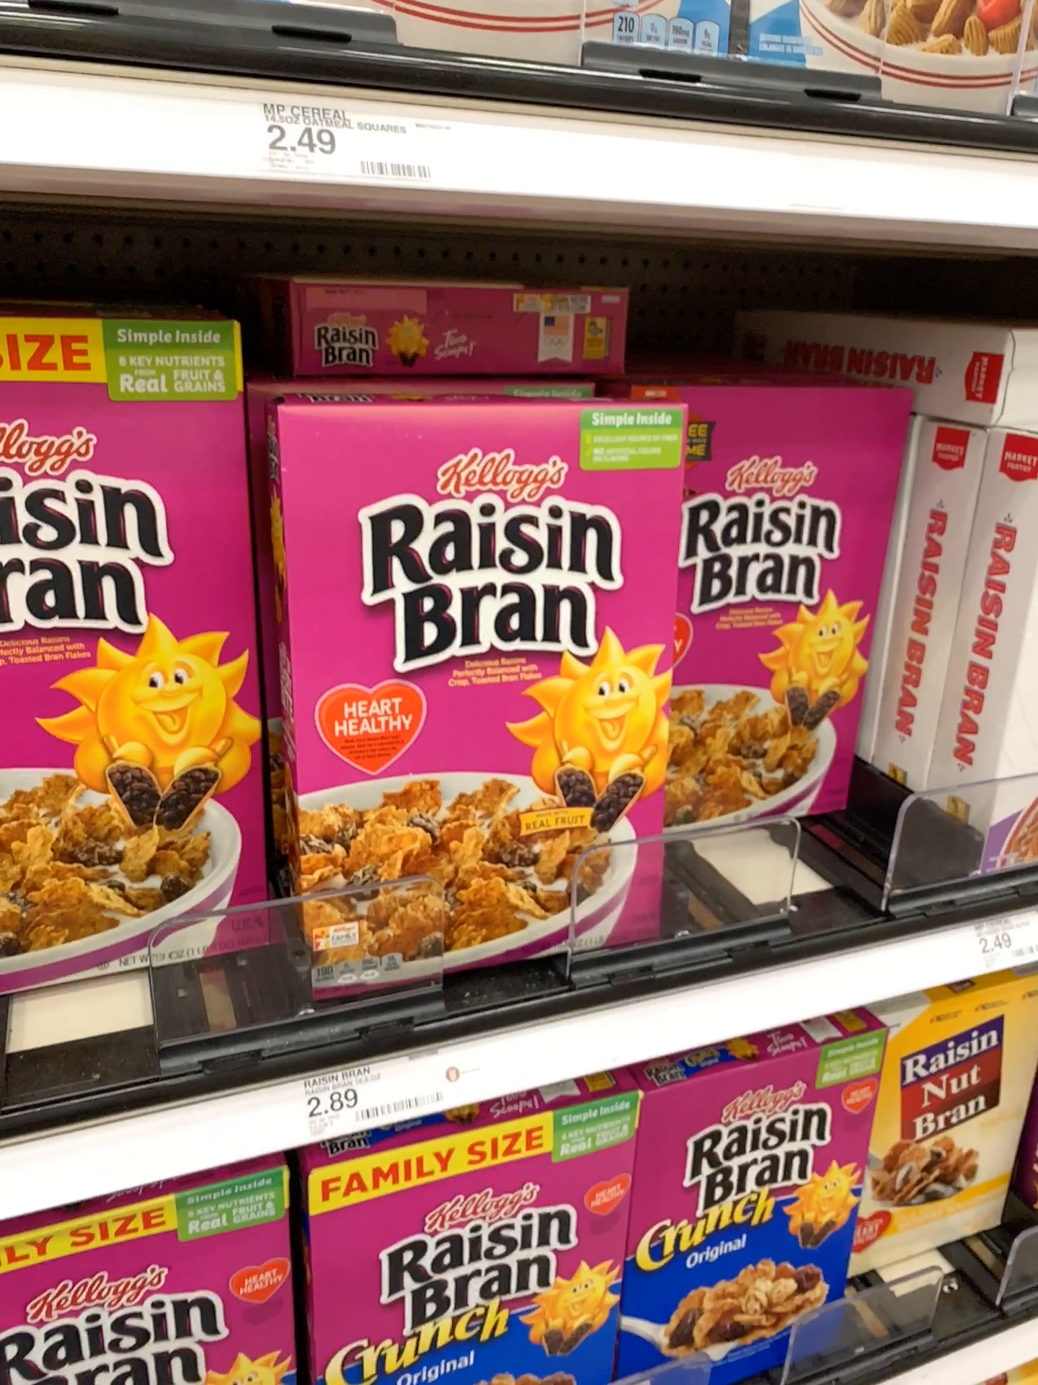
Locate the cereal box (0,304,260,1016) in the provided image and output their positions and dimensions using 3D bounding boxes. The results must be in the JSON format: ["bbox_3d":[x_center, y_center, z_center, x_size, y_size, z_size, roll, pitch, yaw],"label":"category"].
[{"bbox_3d":[-0.244,-0.017,0.495,0.220,0.299,0.060,-6,21,-21],"label":"cereal box"}]

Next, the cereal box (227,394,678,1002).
[{"bbox_3d":[-0.029,-0.002,0.532,0.200,0.279,0.050,-6,18,-20],"label":"cereal box"}]
